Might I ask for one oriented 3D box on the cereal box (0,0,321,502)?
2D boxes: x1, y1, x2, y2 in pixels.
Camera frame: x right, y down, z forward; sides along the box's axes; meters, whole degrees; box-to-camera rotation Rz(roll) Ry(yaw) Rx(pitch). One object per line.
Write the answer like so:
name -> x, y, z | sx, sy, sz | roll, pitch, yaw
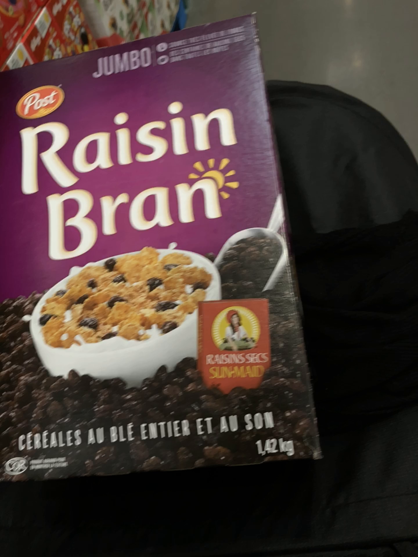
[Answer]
cereal box -> -0.050, -0.015, 0.337 | 0.210, 0.110, 0.290 | -9, 76, 11
